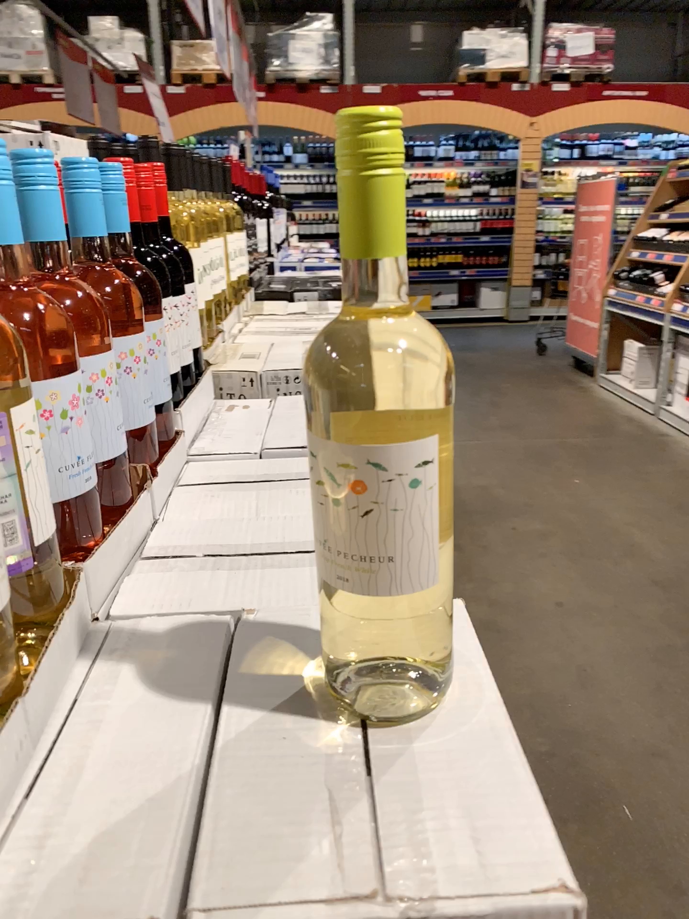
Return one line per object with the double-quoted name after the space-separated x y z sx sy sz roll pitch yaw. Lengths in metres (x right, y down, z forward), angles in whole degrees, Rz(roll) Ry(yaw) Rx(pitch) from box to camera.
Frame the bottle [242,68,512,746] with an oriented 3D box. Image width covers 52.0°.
0.022 -0.018 0.357 0.090 0.299 0.090 -1 20 0 "bottle"
